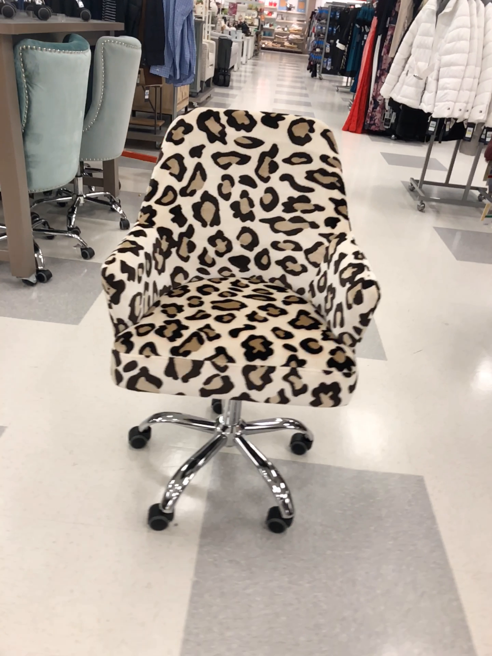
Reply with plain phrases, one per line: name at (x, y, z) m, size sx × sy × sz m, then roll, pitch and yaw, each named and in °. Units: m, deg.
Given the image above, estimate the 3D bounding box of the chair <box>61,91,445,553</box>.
chair at (-0.018, -0.032, 1.303) m, size 0.599 × 0.887 × 0.582 m, roll 6°, pitch 29°, yaw 0°
